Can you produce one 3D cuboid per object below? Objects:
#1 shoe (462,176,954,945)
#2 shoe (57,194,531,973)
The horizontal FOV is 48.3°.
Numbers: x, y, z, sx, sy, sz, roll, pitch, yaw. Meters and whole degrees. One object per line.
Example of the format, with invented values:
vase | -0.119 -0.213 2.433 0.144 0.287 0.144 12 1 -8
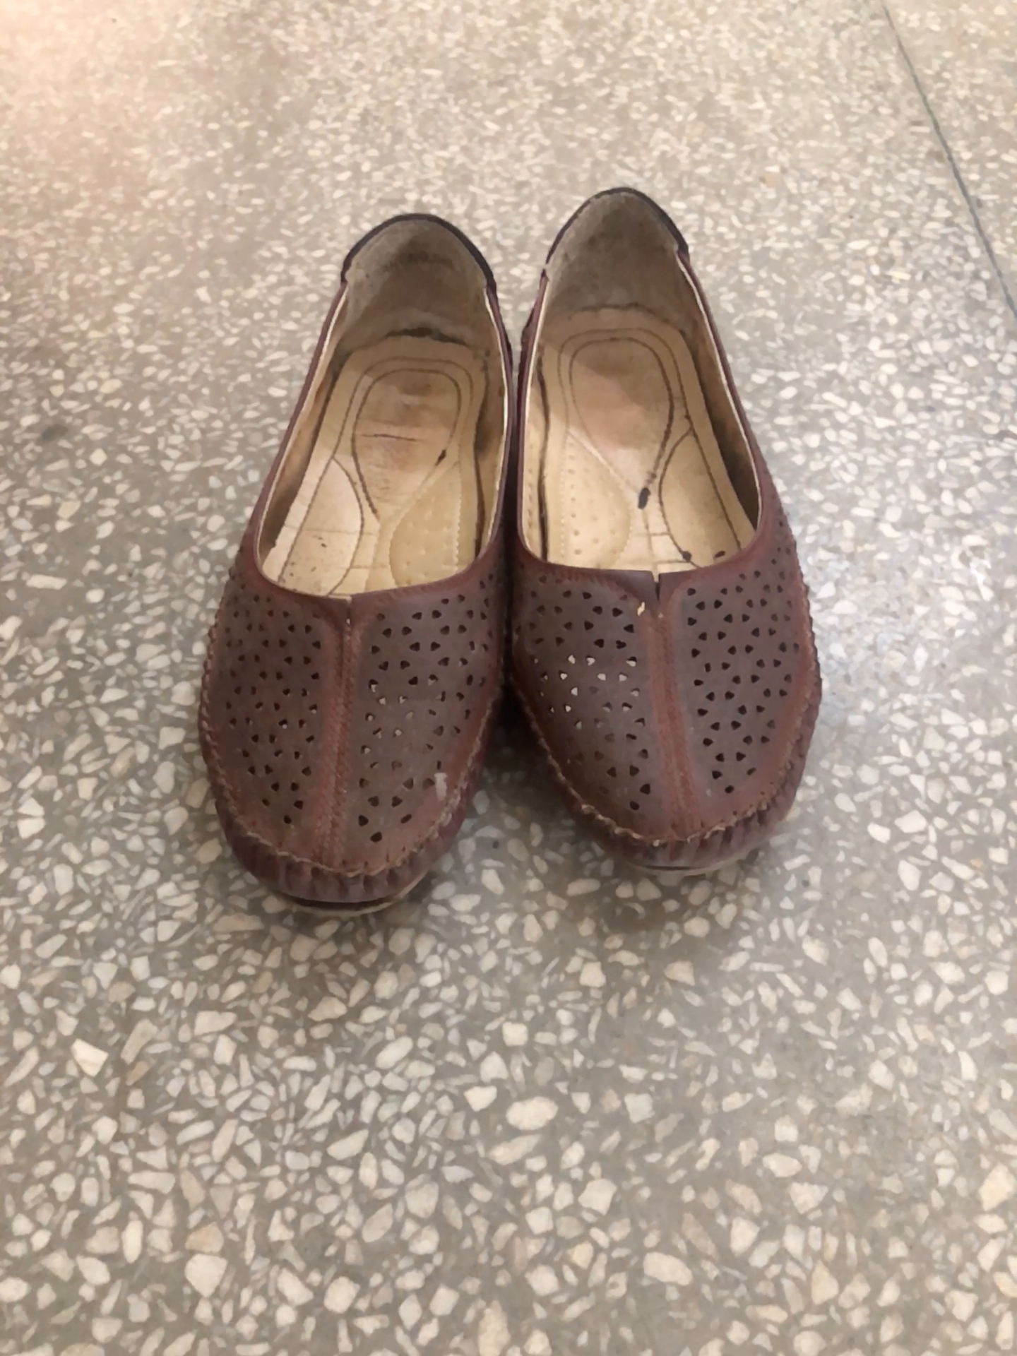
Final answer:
shoe | 0.040 -0.048 0.341 0.095 0.080 0.232 -4 53 -1
shoe | -0.043 -0.042 0.340 0.087 0.080 0.236 2 53 3
